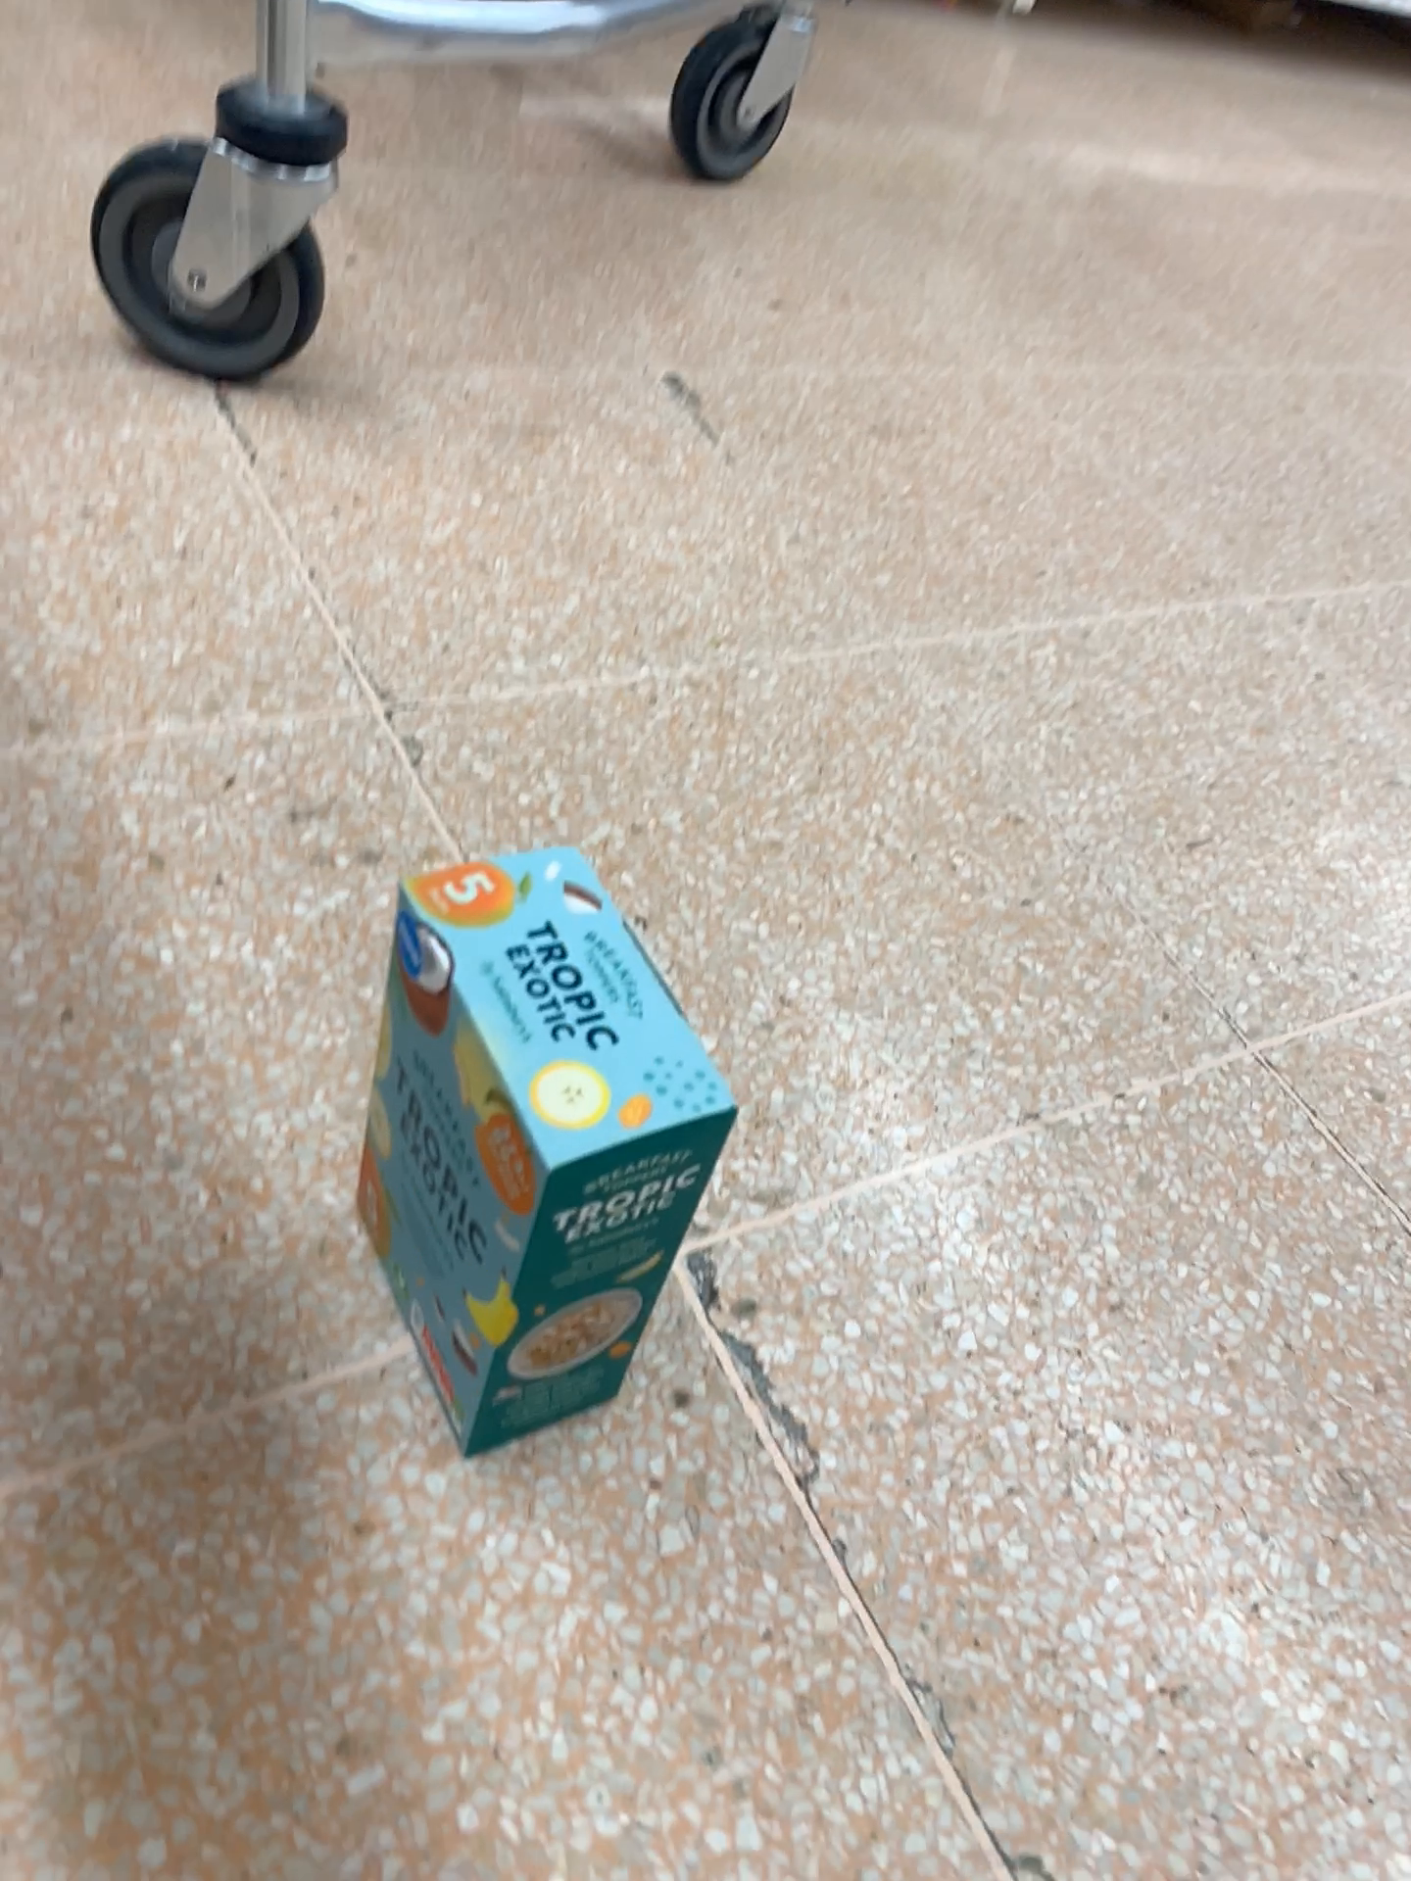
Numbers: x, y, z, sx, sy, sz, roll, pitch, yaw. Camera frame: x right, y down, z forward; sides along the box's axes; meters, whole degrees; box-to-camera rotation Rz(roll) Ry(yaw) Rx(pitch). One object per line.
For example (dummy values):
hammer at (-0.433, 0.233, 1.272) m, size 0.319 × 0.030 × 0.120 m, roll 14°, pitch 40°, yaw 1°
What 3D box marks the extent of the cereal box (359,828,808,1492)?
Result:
cereal box at (-0.045, 0.064, 0.410) m, size 0.060 × 0.148 × 0.111 m, roll -13°, pitch 53°, yaw -29°
